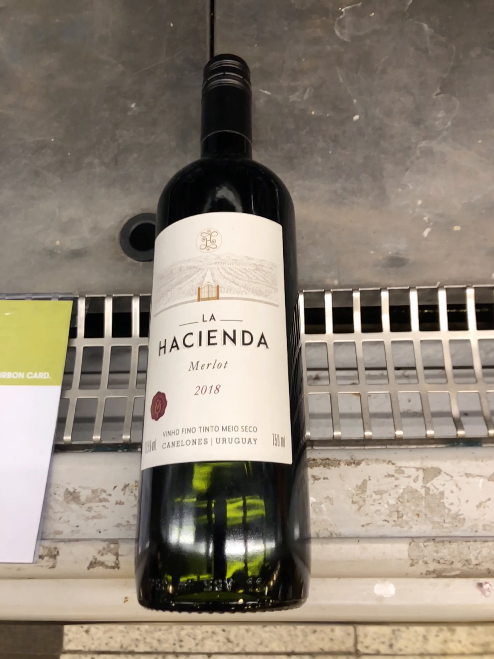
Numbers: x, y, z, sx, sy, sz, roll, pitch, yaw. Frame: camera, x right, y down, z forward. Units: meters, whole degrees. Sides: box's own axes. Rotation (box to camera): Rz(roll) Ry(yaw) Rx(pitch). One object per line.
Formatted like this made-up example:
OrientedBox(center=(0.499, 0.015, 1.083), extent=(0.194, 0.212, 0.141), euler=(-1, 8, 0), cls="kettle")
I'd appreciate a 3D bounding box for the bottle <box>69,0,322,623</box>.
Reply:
OrientedBox(center=(-0.016, -0.034, 0.262), extent=(0.080, 0.070, 0.301), euler=(-2, 68, 3), cls="bottle")
